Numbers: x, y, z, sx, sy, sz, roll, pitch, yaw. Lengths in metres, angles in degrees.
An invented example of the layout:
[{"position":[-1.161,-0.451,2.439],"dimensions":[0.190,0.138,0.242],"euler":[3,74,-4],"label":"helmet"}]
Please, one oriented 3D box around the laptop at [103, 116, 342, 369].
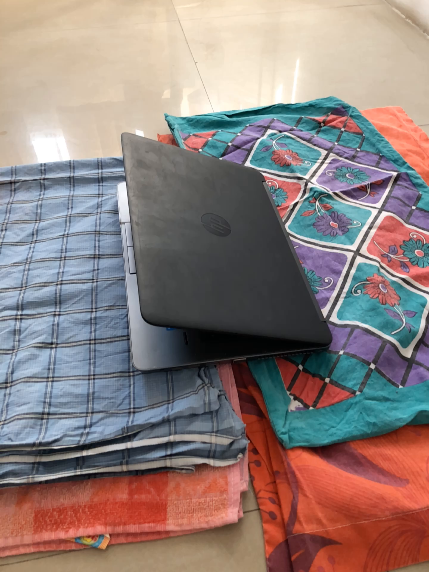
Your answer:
[{"position":[-0.009,-0.076,0.584],"dimensions":[0.212,0.099,0.323],"euler":[-6,51,-12],"label":"laptop"}]
